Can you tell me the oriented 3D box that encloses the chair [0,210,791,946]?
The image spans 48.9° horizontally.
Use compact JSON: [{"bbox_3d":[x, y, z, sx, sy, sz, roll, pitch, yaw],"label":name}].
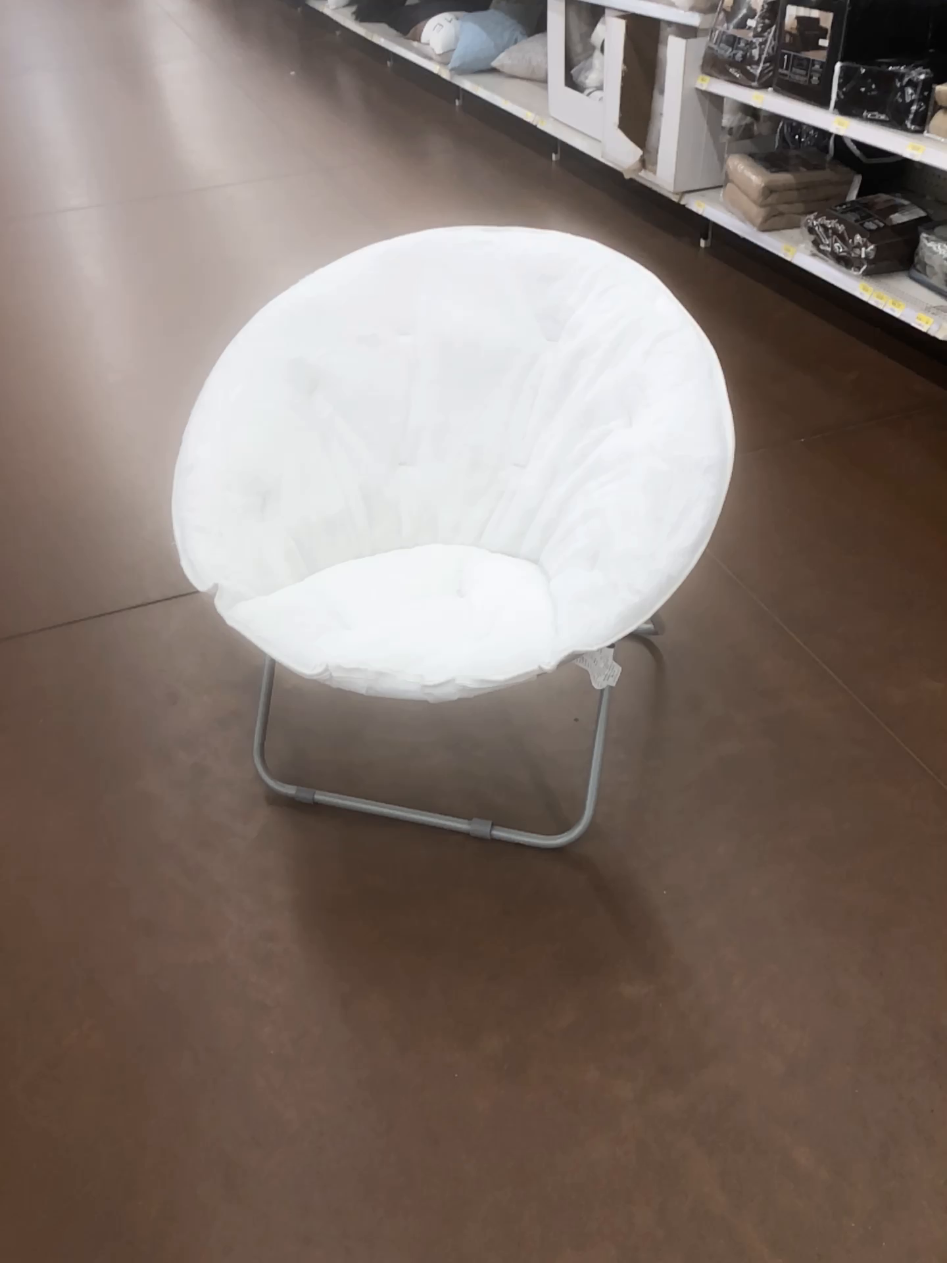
[{"bbox_3d":[-0.009,-0.144,1.475,0.761,0.647,0.753,8,39,16],"label":"chair"}]
